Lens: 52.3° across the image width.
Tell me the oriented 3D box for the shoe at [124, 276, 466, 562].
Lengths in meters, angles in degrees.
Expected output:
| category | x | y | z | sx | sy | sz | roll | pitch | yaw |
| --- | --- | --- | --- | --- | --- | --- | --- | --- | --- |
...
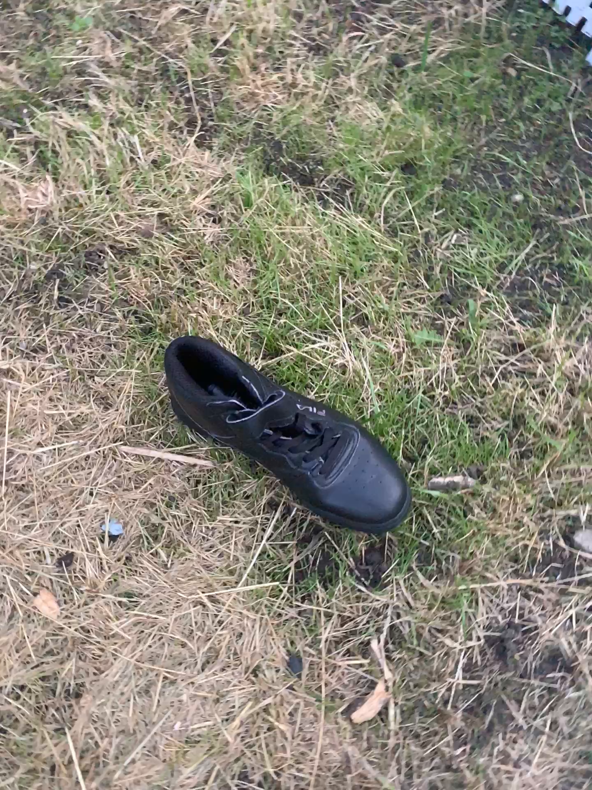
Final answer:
| category | x | y | z | sx | sy | sz | roll | pitch | yaw |
| --- | --- | --- | --- | --- | --- | --- | --- | --- | --- |
| shoe | -0.005 | 0.024 | 0.561 | 0.270 | 0.119 | 0.111 | 30 | 66 | 9 |
